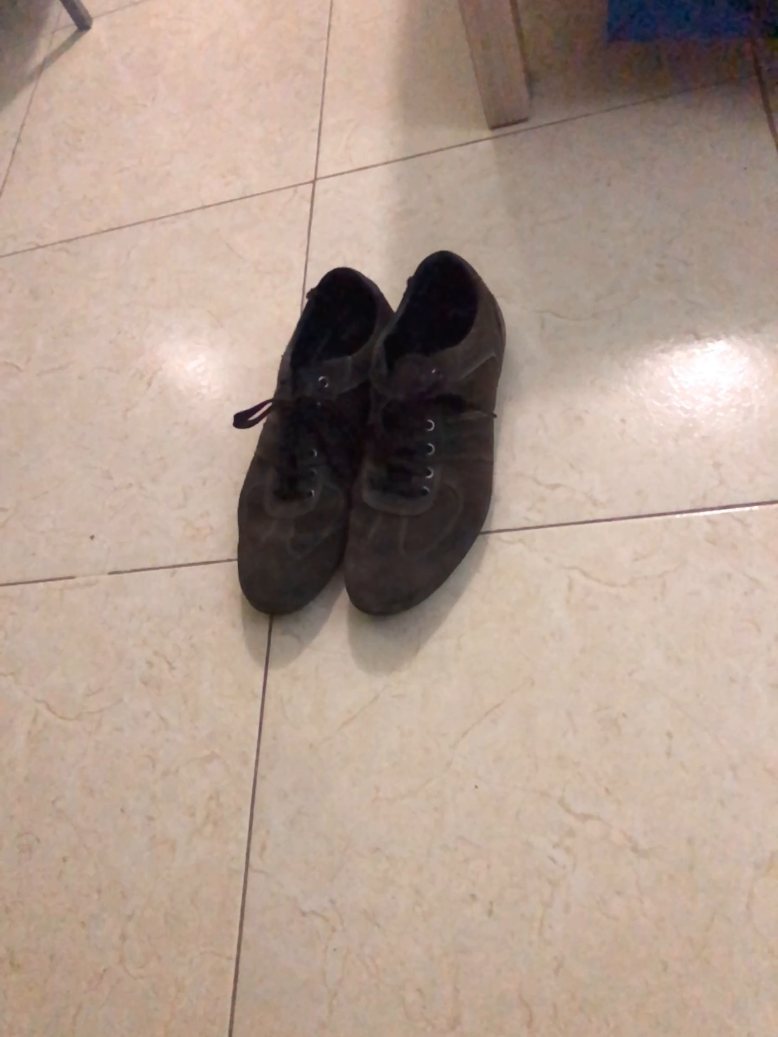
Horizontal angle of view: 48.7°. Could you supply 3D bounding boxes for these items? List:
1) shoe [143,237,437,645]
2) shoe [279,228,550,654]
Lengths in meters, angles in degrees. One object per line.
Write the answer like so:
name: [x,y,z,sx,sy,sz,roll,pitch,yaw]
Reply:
shoe: [-0.065,-0.068,0.684,0.120,0.110,0.300,5,65,22]
shoe: [0.032,-0.065,0.653,0.110,0.110,0.300,6,65,23]
